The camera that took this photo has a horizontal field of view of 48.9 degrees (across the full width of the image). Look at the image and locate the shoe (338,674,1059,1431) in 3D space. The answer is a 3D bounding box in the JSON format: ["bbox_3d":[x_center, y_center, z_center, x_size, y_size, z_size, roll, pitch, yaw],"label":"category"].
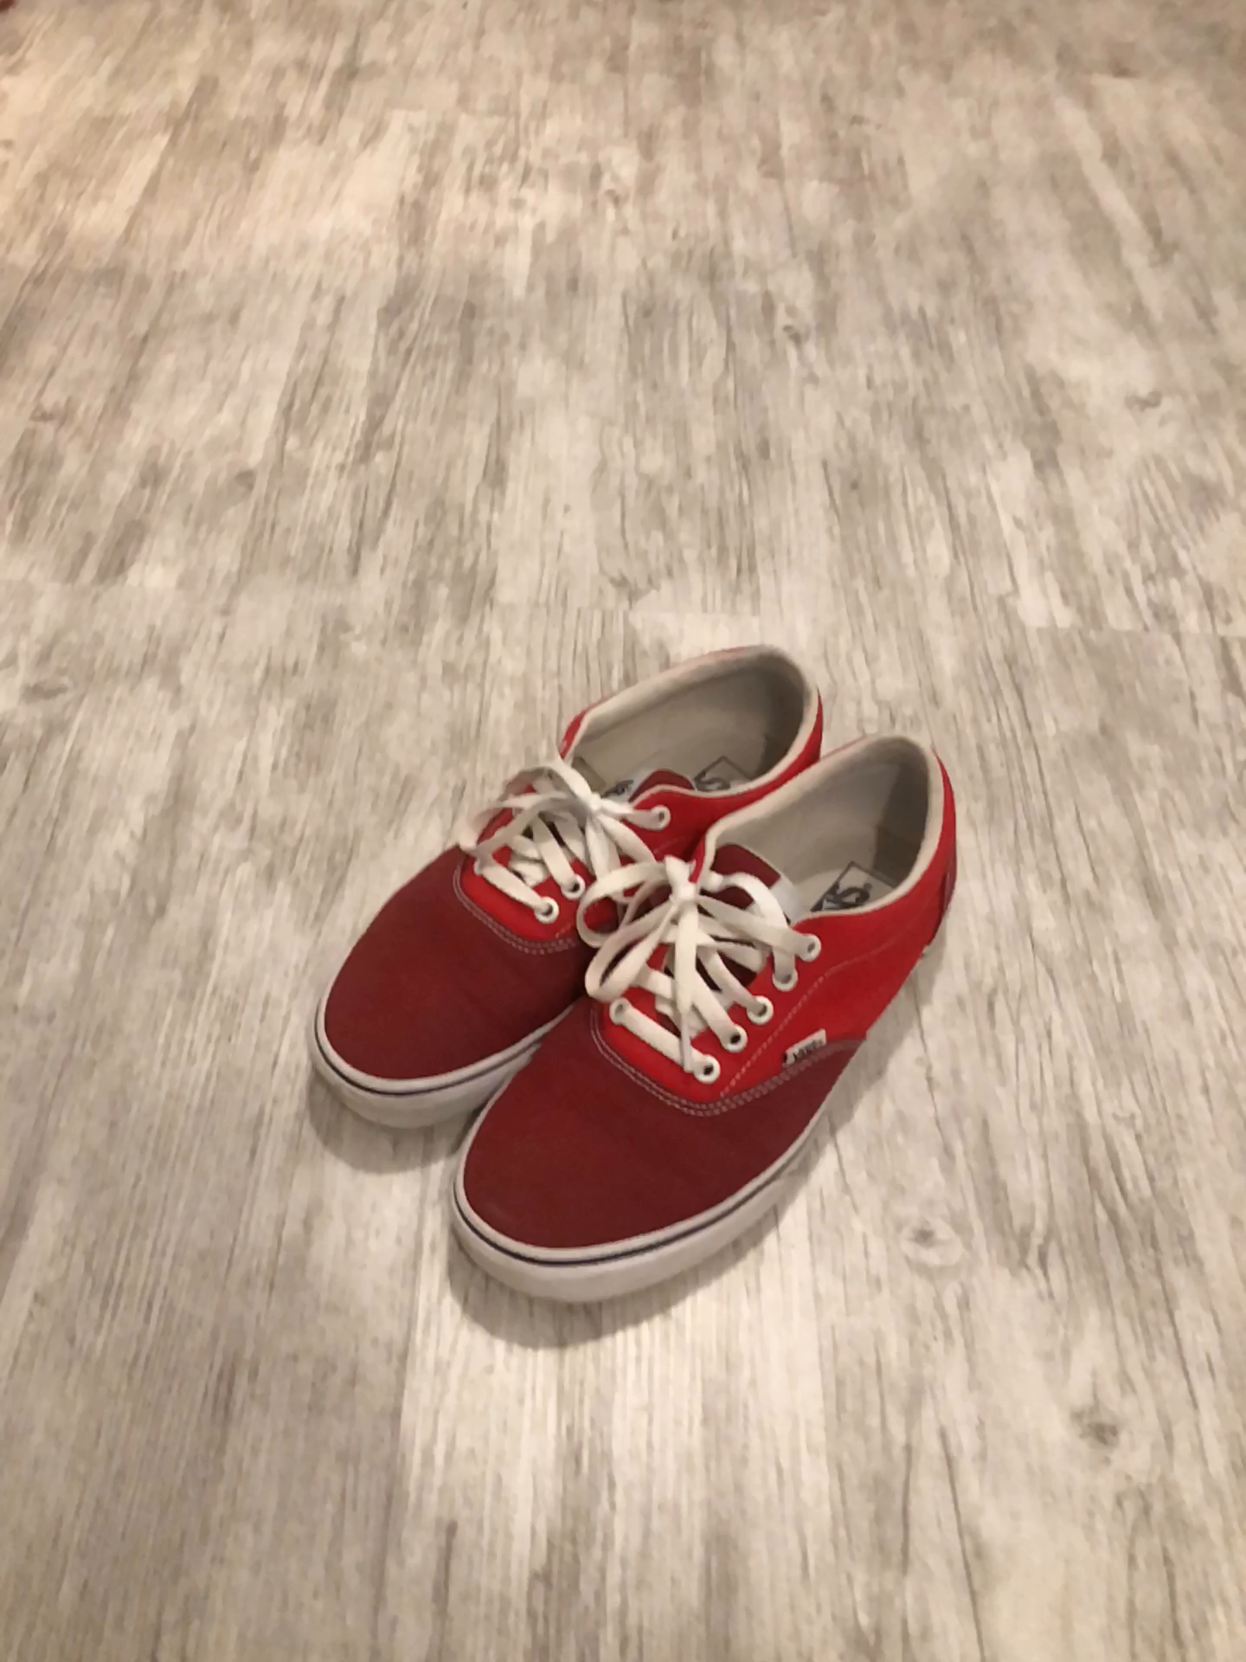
[{"bbox_3d":[0.037,0.066,0.509,0.110,0.088,0.266,33,55,24],"label":"shoe"}]

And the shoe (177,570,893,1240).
[{"bbox_3d":[-0.024,0.016,0.554,0.110,0.093,0.272,36,56,25],"label":"shoe"}]
